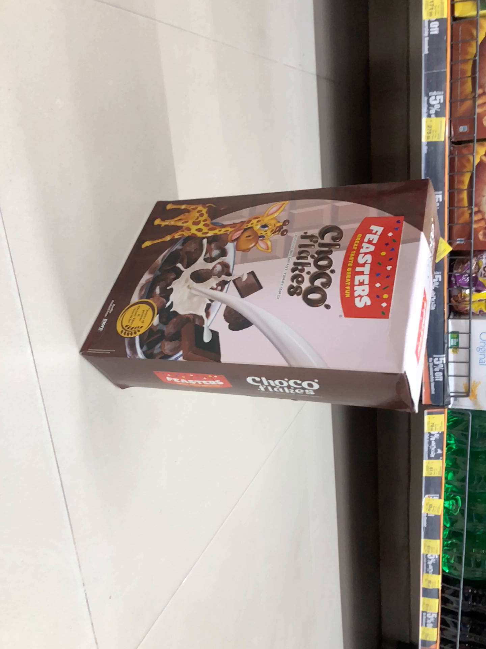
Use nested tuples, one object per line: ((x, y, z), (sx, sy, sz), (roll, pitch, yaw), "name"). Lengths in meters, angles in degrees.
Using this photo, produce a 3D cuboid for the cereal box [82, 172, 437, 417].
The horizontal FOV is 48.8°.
((0.021, -0.032, 0.458), (0.060, 0.258, 0.190), (63, 36, -49), "cereal box")
